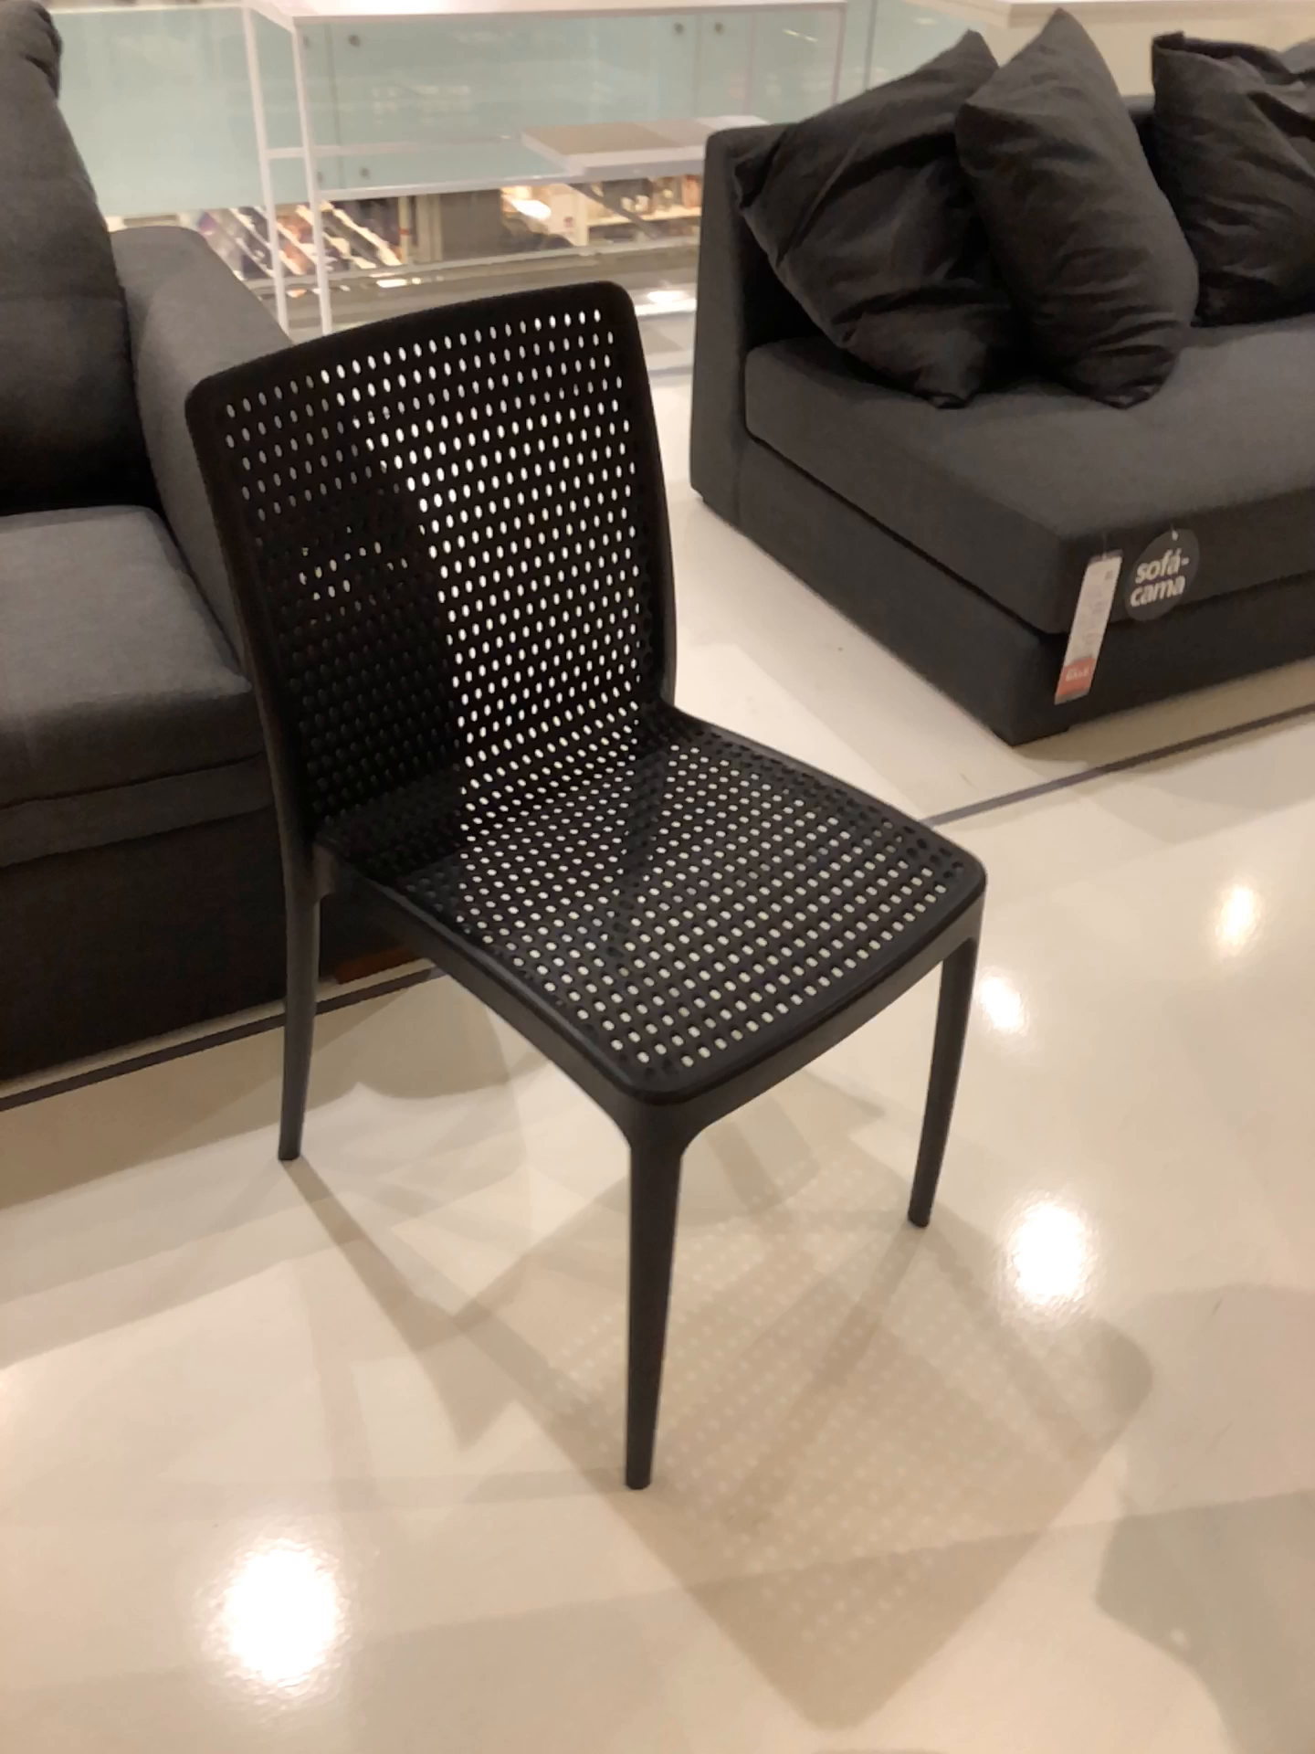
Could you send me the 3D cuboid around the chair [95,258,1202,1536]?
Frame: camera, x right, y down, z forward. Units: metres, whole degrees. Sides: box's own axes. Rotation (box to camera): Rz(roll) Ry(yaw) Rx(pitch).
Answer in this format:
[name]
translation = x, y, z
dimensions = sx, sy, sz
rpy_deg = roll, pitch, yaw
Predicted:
[chair]
translation = -0.019, -0.013, 1.242
dimensions = 0.562, 0.783, 0.533
rpy_deg = 32, 46, 33
